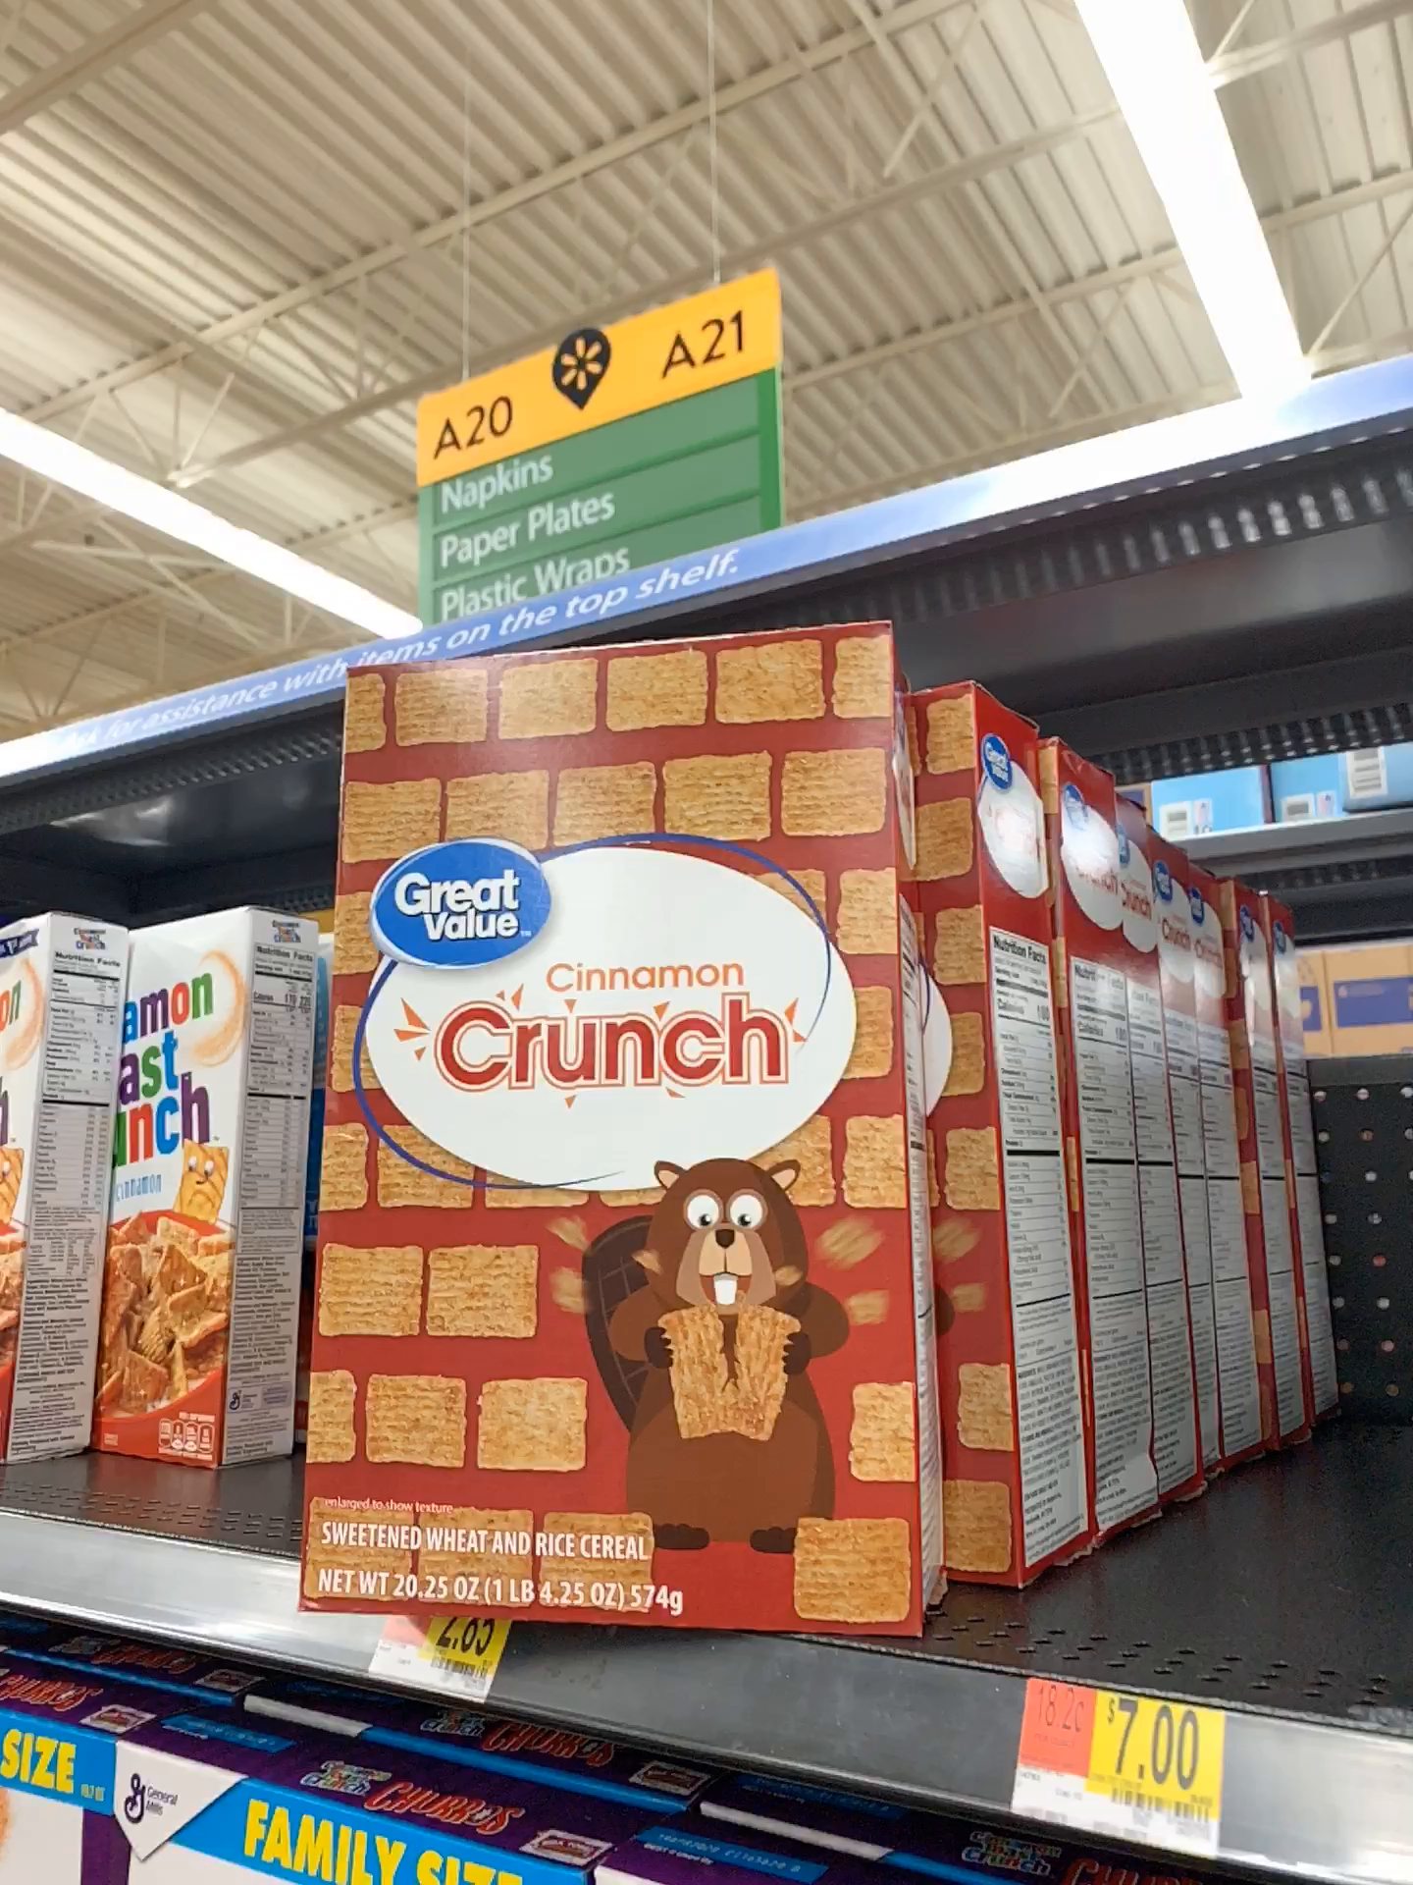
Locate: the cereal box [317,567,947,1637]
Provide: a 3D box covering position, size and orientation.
[{"bbox_3d":[-0.020,0.046,0.498,0.190,0.331,0.070,-2,-12,8],"label":"cereal box"}]
